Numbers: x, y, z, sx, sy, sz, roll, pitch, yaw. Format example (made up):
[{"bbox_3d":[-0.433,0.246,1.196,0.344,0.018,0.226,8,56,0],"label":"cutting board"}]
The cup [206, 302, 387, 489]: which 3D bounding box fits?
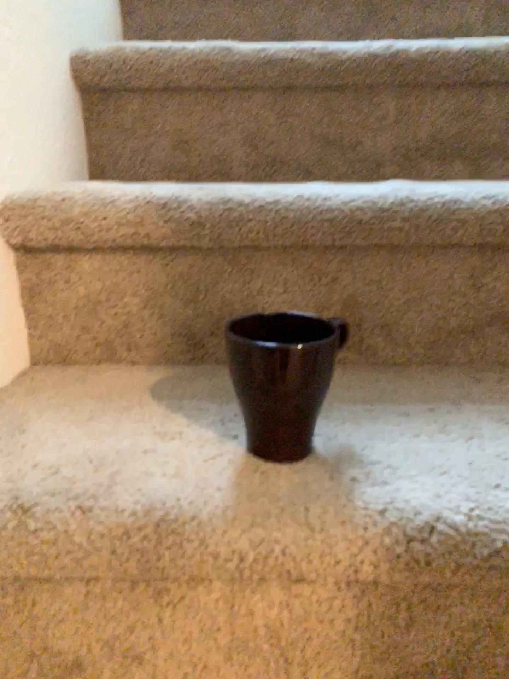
[{"bbox_3d":[0.032,0.035,0.403,0.110,0.099,0.080,-13,21,-36],"label":"cup"}]
